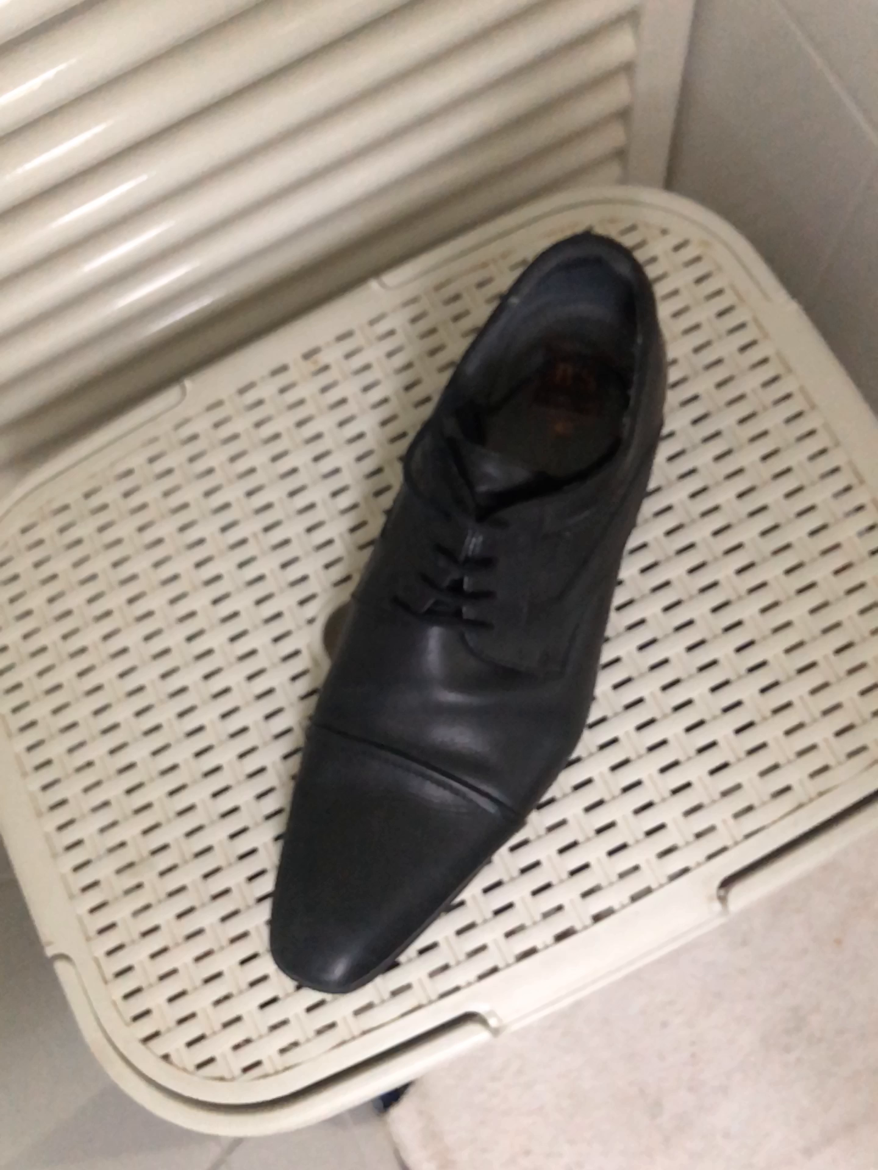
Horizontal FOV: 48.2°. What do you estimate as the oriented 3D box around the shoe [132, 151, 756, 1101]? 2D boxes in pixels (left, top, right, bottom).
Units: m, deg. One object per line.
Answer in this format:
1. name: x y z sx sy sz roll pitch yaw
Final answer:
1. shoe: 0.012 0.008 0.385 0.110 0.100 0.310 20 82 11
